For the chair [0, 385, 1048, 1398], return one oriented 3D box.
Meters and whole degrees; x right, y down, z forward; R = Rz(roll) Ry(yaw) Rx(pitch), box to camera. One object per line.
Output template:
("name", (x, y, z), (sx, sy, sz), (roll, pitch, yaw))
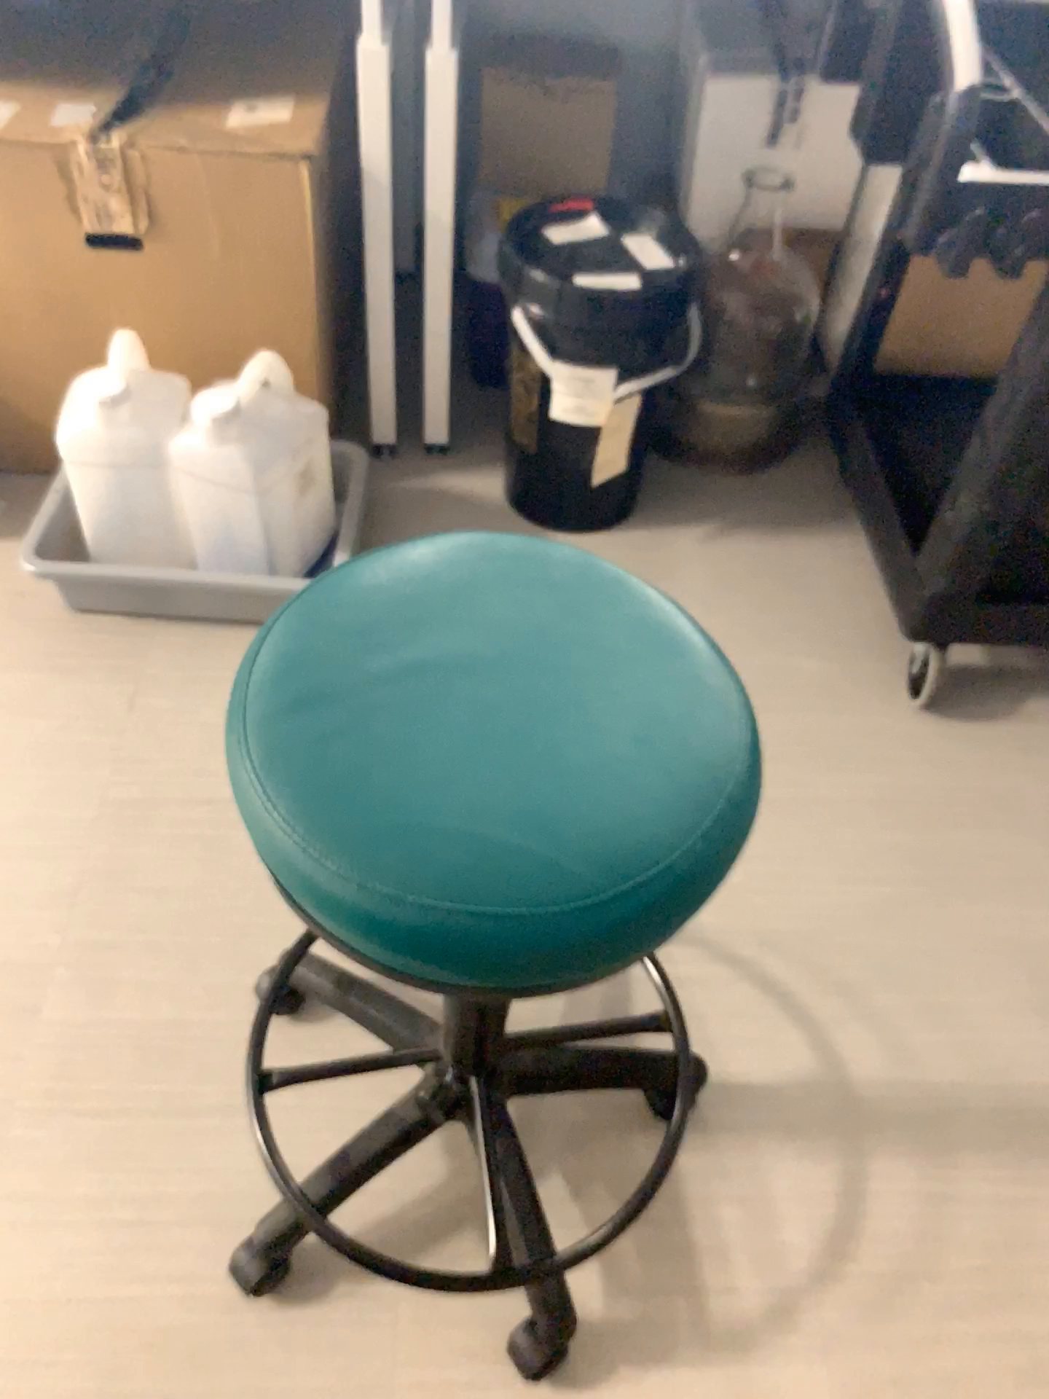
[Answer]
("chair", (-0.063, 0.226, 0.958), (0.591, 0.655, 0.593), (-20, 54, -21))
